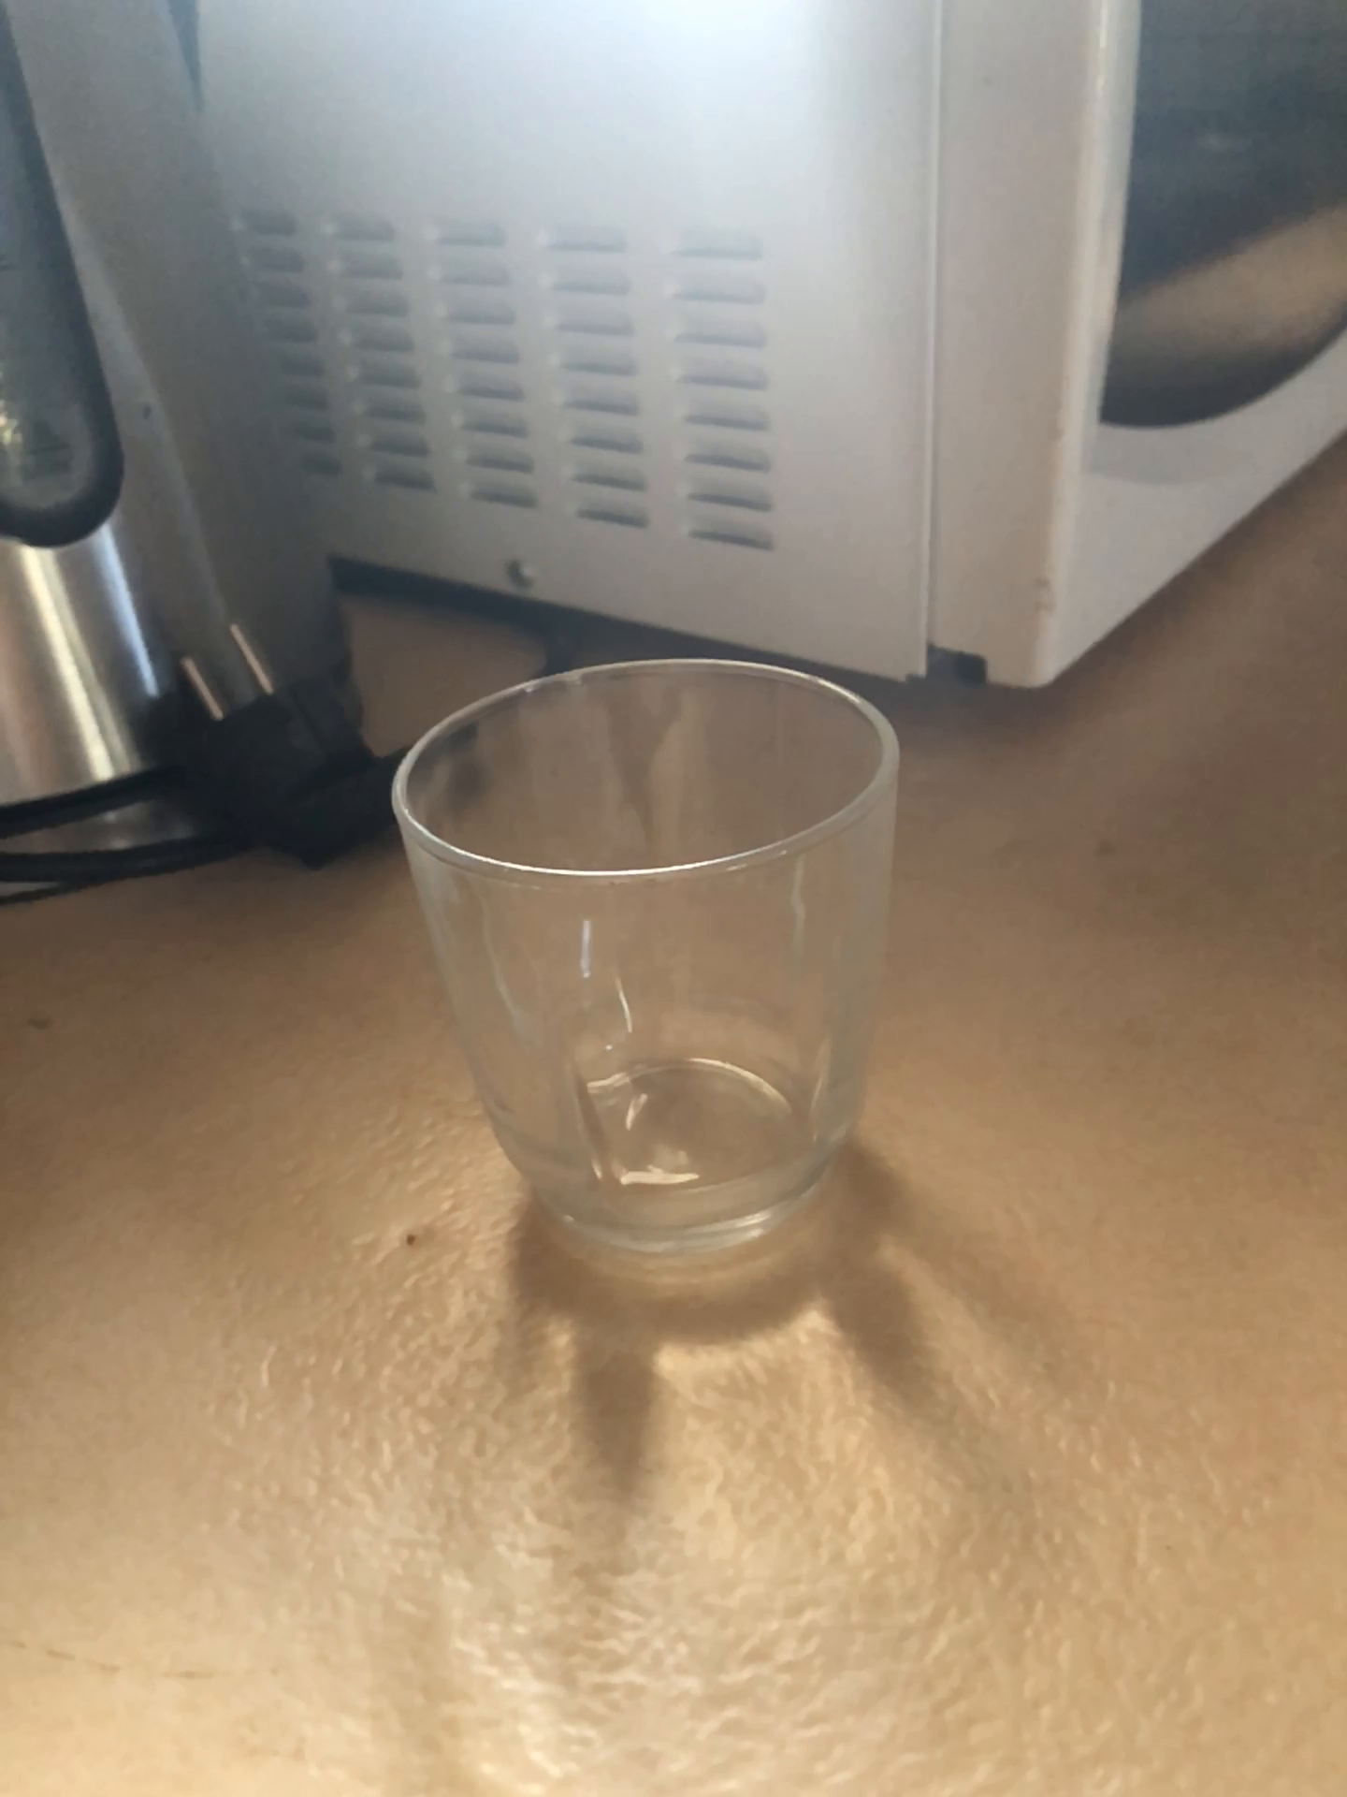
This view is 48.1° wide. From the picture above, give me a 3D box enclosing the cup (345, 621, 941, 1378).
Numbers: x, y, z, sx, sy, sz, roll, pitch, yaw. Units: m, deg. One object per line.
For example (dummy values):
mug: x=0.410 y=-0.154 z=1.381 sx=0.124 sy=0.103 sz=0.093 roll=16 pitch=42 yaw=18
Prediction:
cup: x=-0.004 y=0.012 z=0.226 sx=0.070 sy=0.080 sz=0.070 roll=-3 pitch=30 yaw=2
